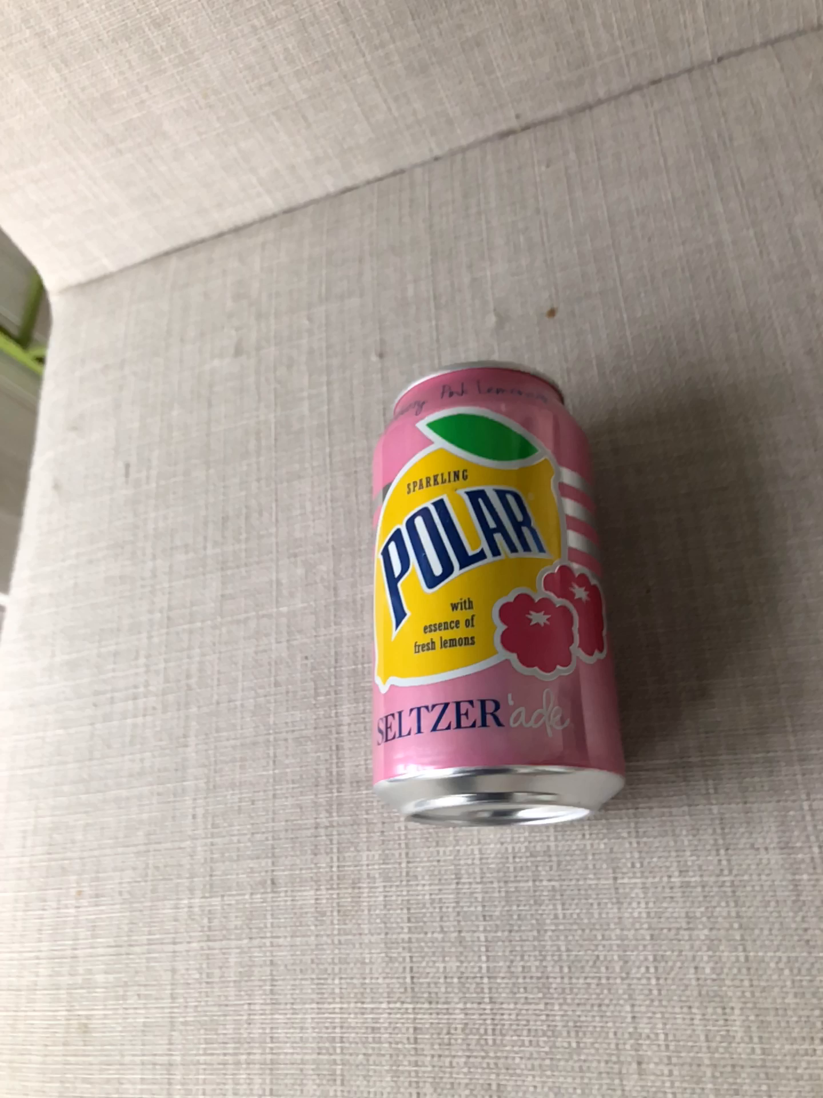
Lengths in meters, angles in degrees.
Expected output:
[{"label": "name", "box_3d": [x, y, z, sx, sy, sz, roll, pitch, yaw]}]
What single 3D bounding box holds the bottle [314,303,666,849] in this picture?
[{"label": "bottle", "box_3d": [0.020, 0.012, 0.247, 0.070, 0.065, 0.122, -10, 66, 18]}]
